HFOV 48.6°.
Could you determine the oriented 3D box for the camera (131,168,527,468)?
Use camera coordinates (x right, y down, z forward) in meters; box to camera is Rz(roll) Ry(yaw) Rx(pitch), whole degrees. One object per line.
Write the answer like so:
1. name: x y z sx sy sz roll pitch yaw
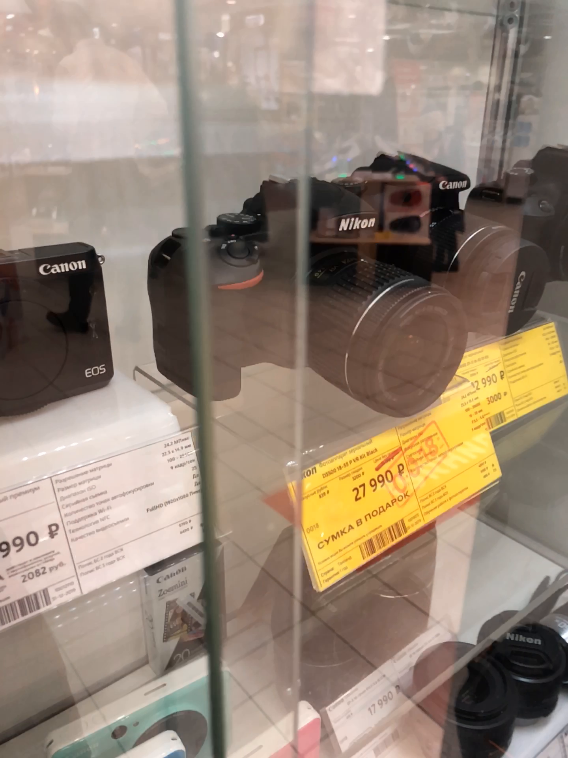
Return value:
1. camera: 0.018 -0.044 0.300 0.130 0.092 0.120 -17 29 -35
